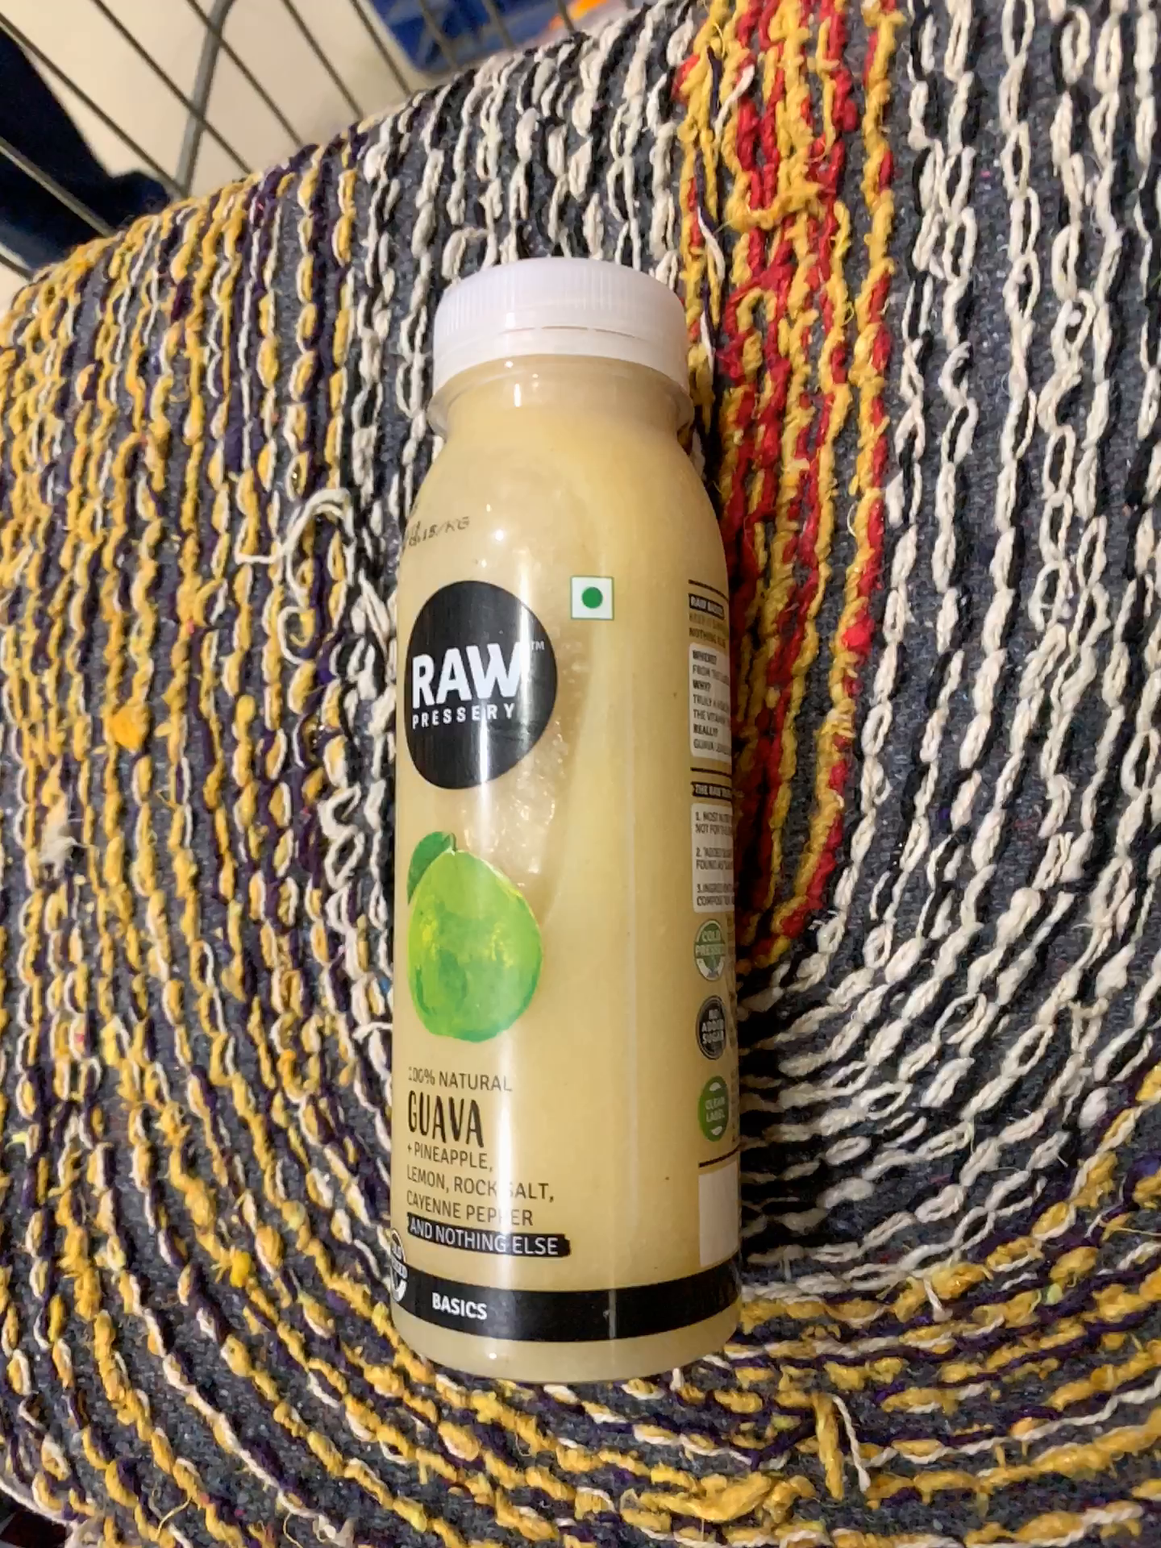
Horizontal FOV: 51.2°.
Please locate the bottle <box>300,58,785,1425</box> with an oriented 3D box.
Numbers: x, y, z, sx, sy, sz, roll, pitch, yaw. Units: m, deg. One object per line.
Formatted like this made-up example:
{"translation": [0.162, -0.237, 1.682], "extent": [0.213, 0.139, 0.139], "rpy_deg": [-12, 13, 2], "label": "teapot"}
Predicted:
{"translation": [-0.003, -0.006, 0.169], "extent": [0.050, 0.040, 0.160], "rpy_deg": [-4, 81, 30], "label": "bottle"}
